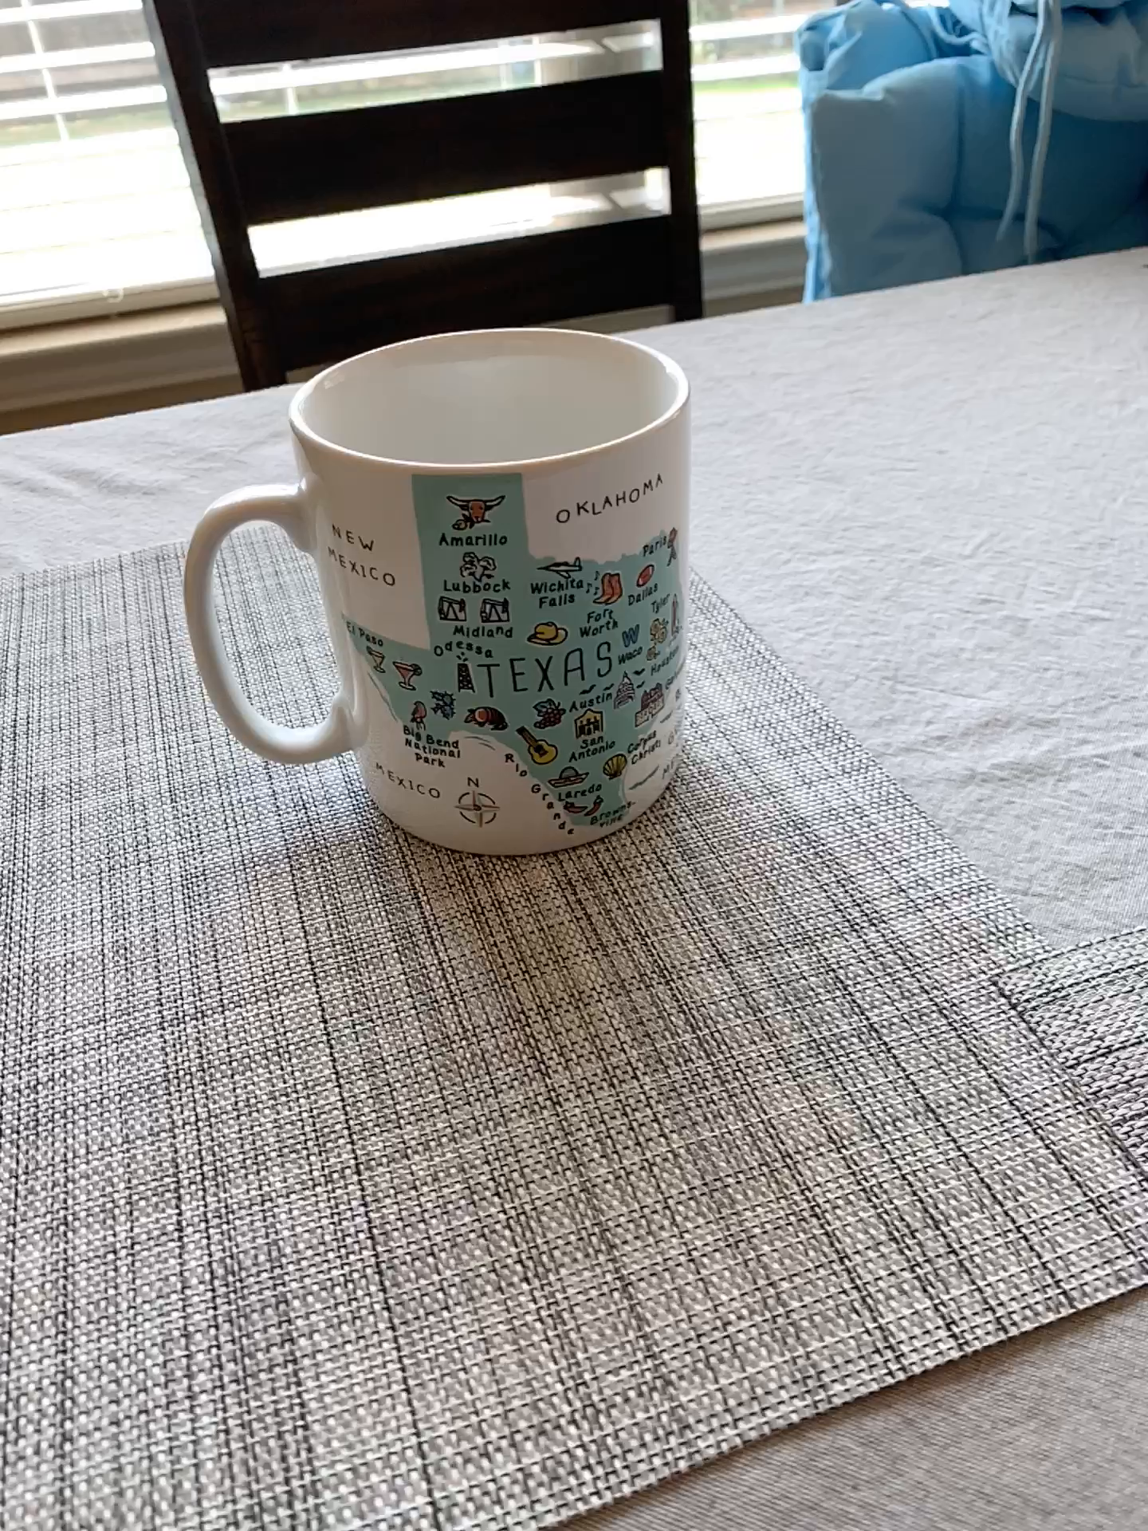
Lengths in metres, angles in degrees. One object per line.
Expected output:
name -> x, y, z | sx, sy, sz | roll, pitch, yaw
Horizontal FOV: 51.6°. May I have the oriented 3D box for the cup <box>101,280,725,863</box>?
cup -> -0.035, -0.061, 0.369 | 0.150, 0.136, 0.112 | -2, 37, 3
